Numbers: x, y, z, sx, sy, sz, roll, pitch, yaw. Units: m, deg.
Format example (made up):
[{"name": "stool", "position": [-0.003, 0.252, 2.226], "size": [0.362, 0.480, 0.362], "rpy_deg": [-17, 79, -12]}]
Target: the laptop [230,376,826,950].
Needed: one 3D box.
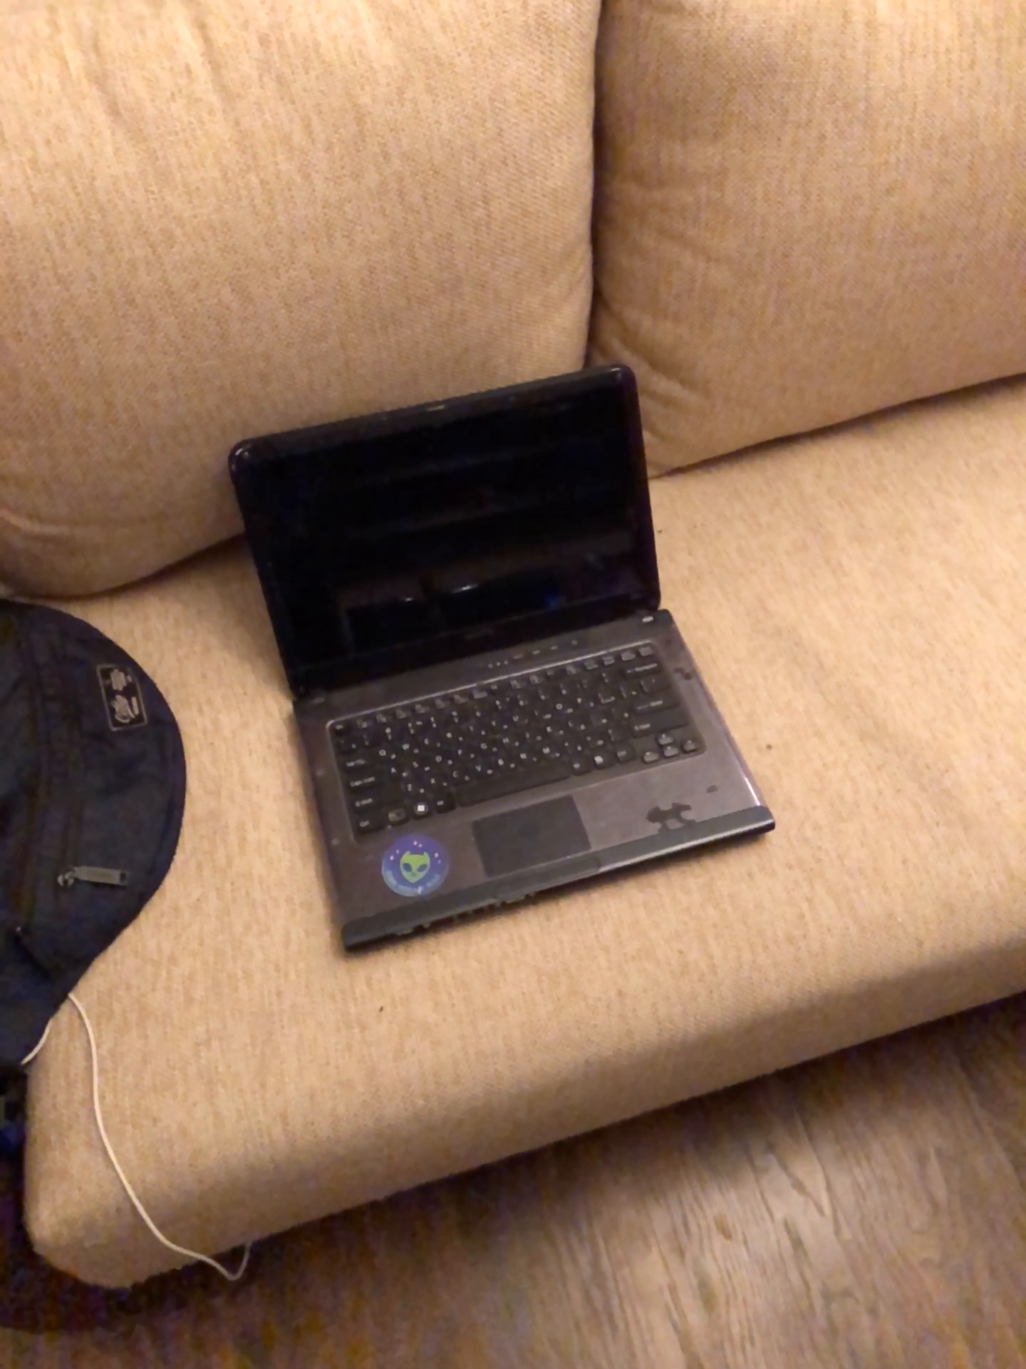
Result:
[{"name": "laptop", "position": [-0.009, -0.030, 0.884], "size": [0.338, 0.174, 0.350], "rpy_deg": [-14, 56, -9]}]
